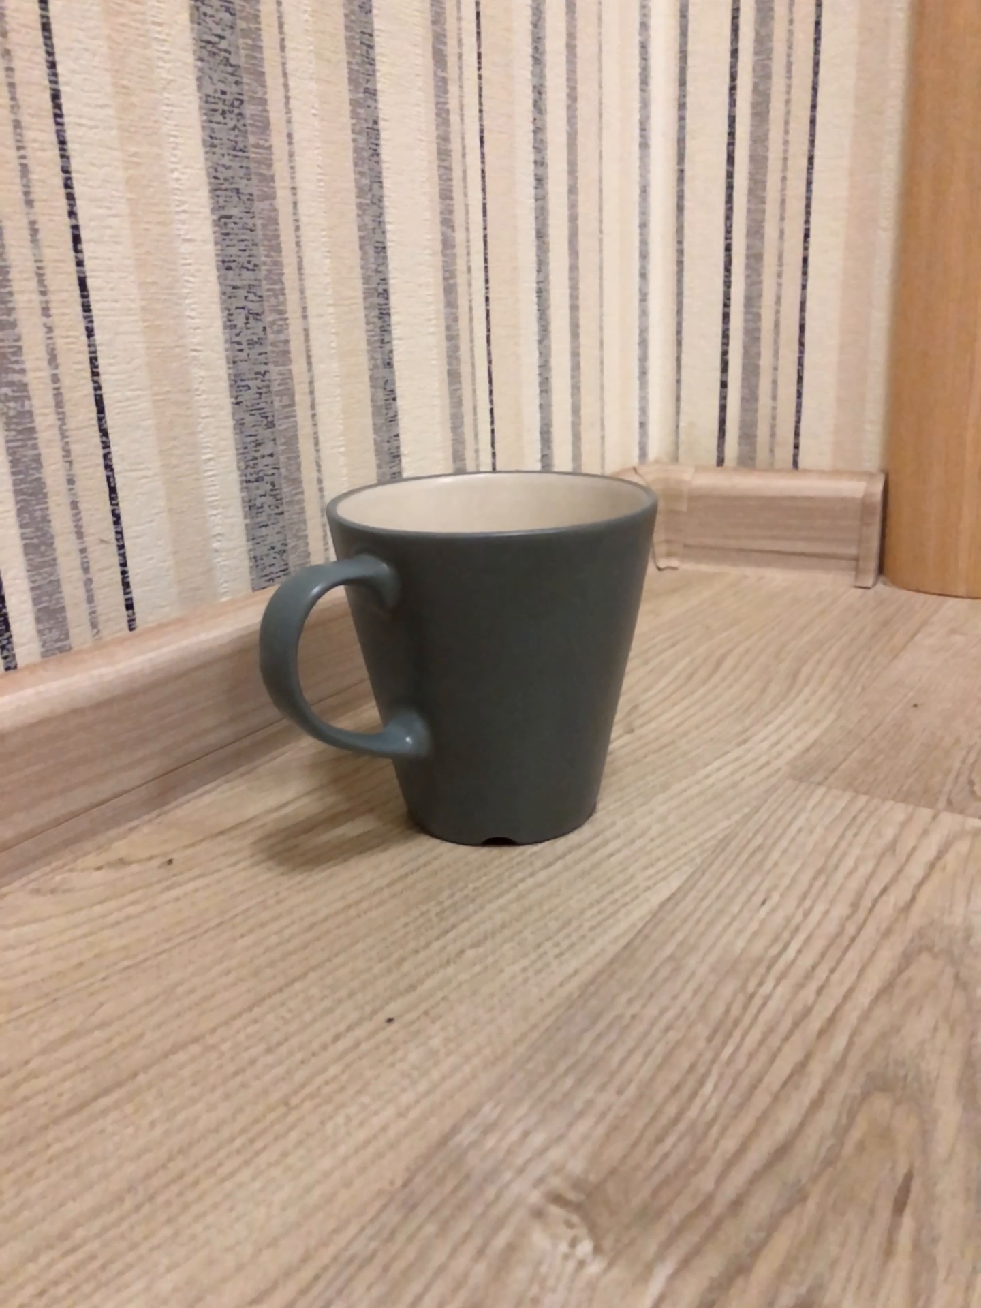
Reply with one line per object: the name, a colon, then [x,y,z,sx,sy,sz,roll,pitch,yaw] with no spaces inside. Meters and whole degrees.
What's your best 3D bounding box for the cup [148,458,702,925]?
cup: [-0.015,-0.002,0.319,0.125,0.089,0.096,-18,23,-41]
